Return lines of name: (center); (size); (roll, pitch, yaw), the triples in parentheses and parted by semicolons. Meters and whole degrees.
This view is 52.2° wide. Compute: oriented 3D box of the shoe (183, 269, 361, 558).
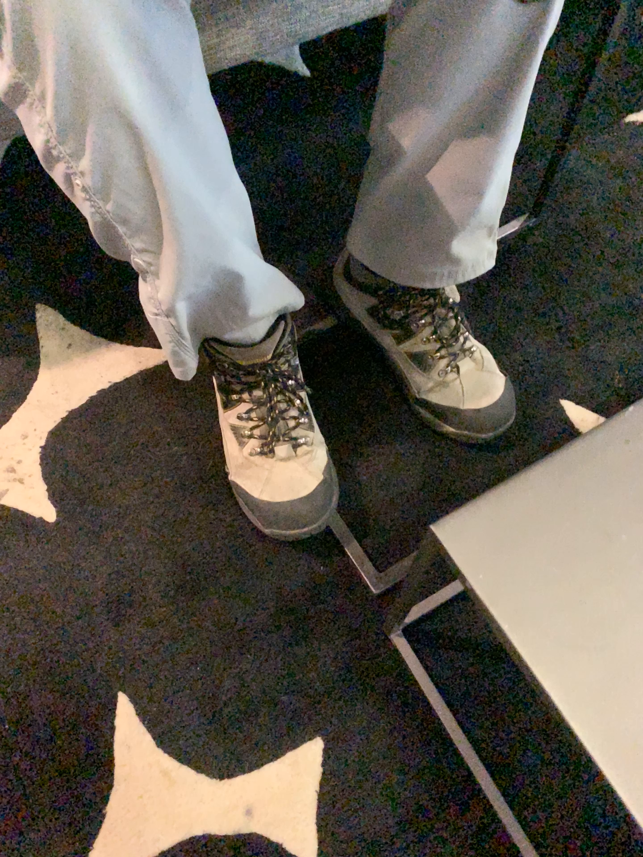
shoe: (-0.058, -0.019, 0.719); (0.123, 0.090, 0.285); (-13, 69, -6)

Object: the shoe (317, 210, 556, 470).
shoe: (0.126, -0.114, 0.798); (0.121, 0.080, 0.304); (-29, 68, -13)
